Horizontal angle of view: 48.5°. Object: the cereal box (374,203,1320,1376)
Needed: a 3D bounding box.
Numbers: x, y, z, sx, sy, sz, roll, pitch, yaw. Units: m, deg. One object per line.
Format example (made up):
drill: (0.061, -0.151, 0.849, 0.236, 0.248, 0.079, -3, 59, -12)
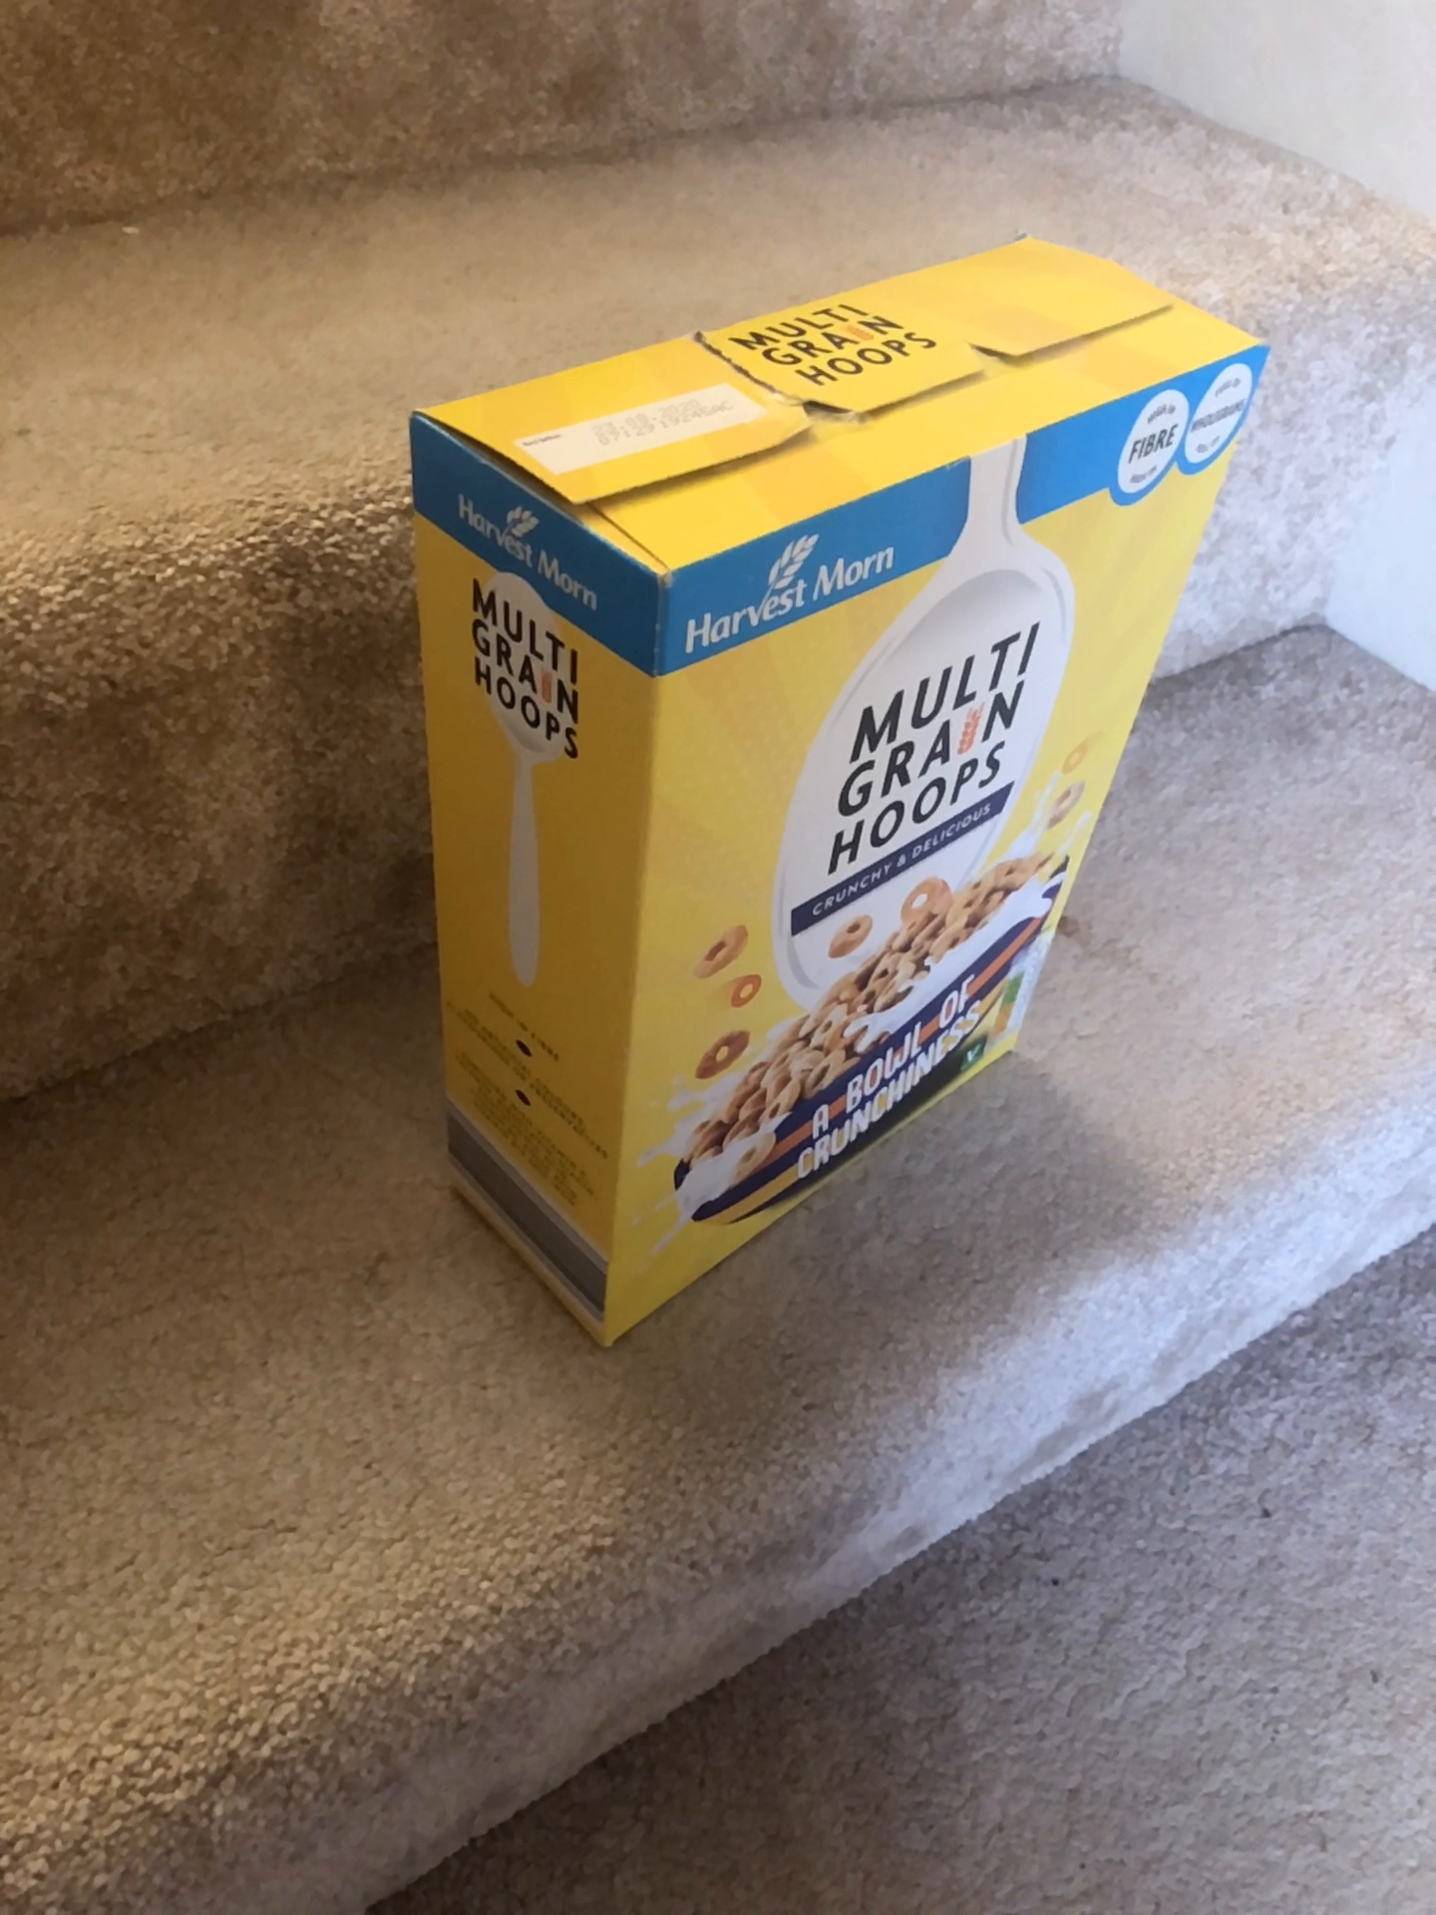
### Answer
cereal box: (0.025, -0.040, 0.428, 0.201, 0.248, 0.090, -31, 57, -32)
